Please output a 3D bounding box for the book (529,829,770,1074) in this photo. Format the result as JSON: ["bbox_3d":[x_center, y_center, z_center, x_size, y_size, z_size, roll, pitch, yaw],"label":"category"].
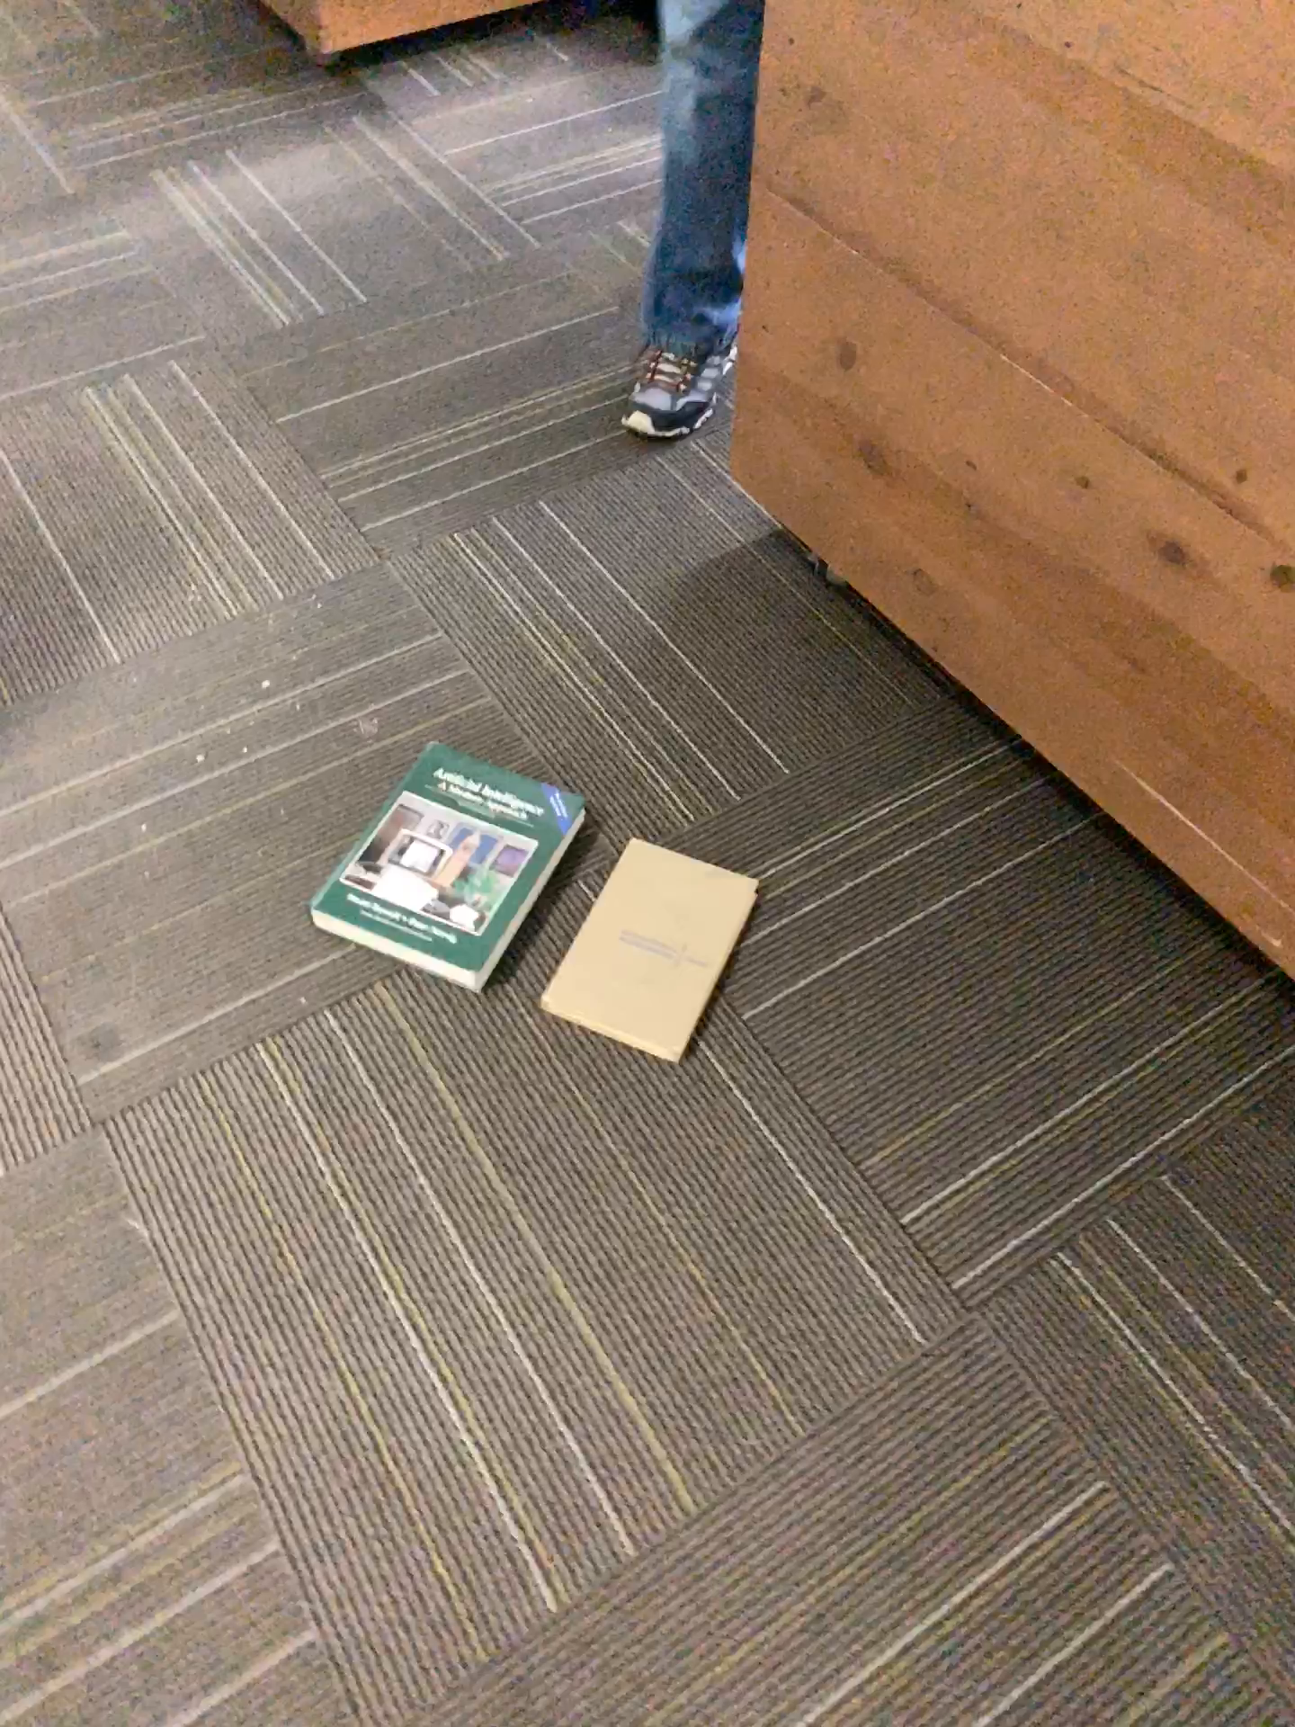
[{"bbox_3d":[0.006,0.086,1.400,0.170,0.023,0.246,20,55,14],"label":"book"}]

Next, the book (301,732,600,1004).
[{"bbox_3d":[-0.210,-0.003,1.459,0.220,0.050,0.271,20,55,14],"label":"book"}]
